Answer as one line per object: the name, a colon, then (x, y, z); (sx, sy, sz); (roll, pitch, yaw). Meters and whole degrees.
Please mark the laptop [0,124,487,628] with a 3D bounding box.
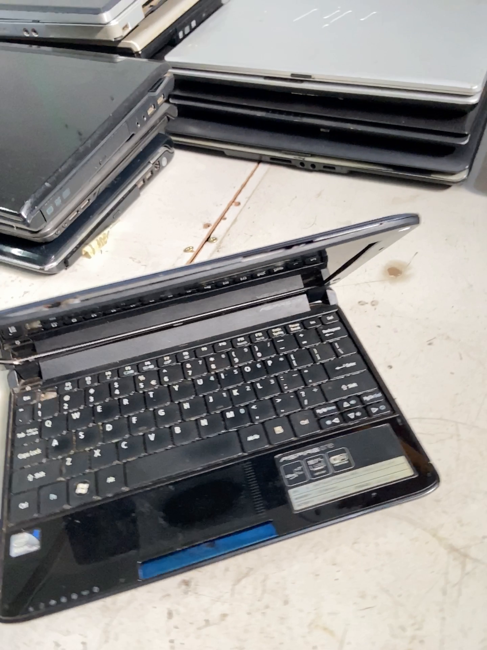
laptop: (-0.035, 0.015, 0.276); (0.244, 0.131, 0.172); (-15, 47, -7)
